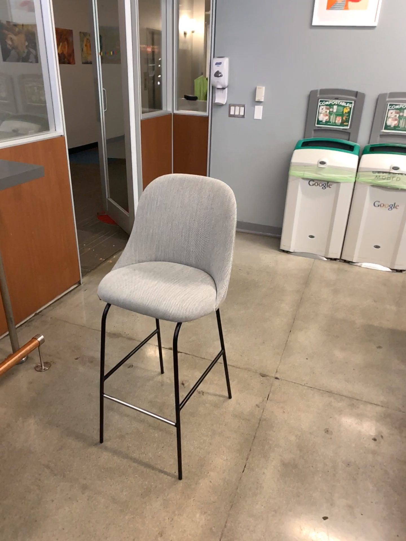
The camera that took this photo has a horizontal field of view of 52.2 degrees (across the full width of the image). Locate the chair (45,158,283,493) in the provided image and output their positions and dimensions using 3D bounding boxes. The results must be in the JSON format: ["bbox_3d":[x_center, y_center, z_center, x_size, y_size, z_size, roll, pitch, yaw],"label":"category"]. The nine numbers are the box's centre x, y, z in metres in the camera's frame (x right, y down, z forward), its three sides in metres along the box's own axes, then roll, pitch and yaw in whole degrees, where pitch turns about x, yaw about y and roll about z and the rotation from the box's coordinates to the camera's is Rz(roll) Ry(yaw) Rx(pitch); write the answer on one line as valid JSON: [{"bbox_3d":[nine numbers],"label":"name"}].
[{"bbox_3d":[-0.105,0.158,1.829,0.591,1.094,0.813,13,28,22],"label":"chair"}]
